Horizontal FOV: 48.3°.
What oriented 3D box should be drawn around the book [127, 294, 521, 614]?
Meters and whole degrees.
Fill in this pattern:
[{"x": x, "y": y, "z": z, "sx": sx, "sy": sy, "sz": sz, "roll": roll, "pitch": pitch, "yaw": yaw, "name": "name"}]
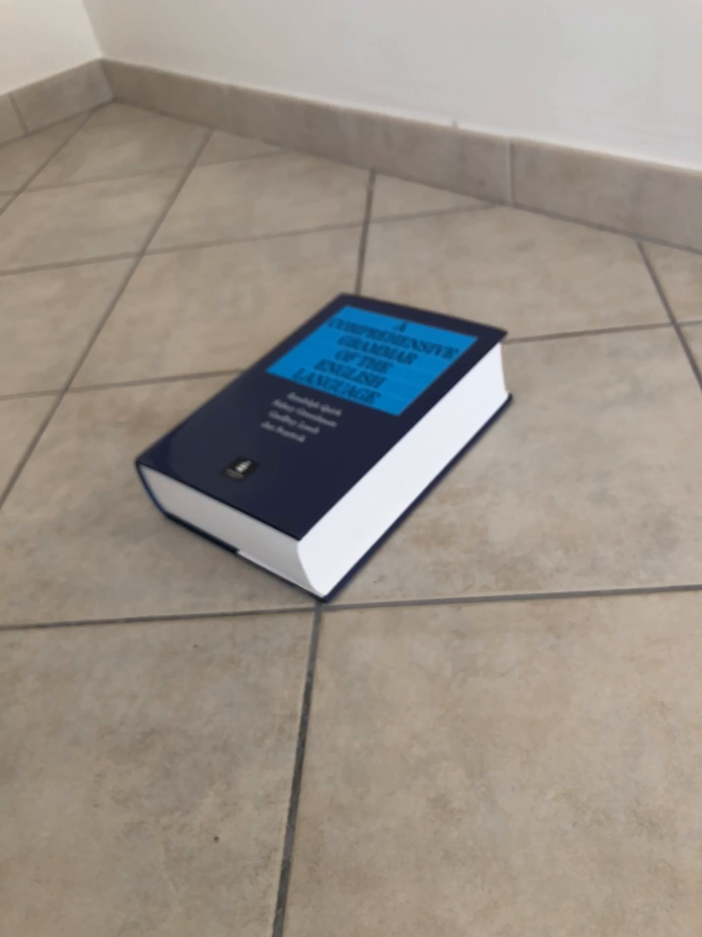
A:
[{"x": -0.012, "y": -0.031, "z": 0.619, "sx": 0.180, "sy": 0.066, "sz": 0.258, "roll": 21, "pitch": 51, "yaw": 35, "name": "book"}]
